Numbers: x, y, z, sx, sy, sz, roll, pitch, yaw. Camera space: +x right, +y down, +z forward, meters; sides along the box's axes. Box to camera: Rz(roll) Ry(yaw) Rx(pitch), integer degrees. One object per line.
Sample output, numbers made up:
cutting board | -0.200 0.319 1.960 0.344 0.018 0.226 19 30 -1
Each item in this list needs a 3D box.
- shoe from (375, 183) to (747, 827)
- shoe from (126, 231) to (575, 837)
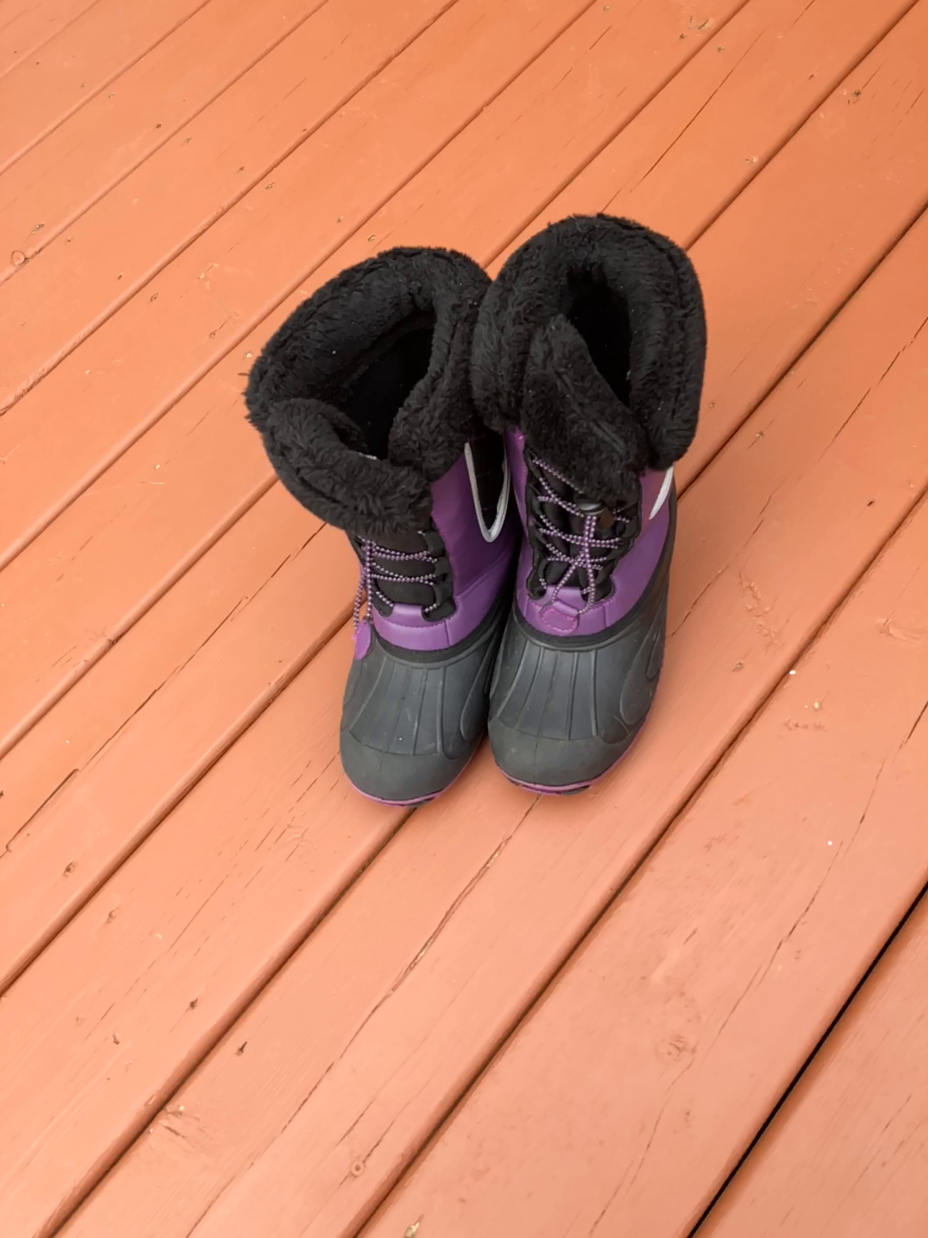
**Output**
shoe | 0.076 -0.047 0.582 0.120 0.280 0.240 8 65 16
shoe | -0.036 -0.035 0.622 0.120 0.280 0.240 12 66 18
